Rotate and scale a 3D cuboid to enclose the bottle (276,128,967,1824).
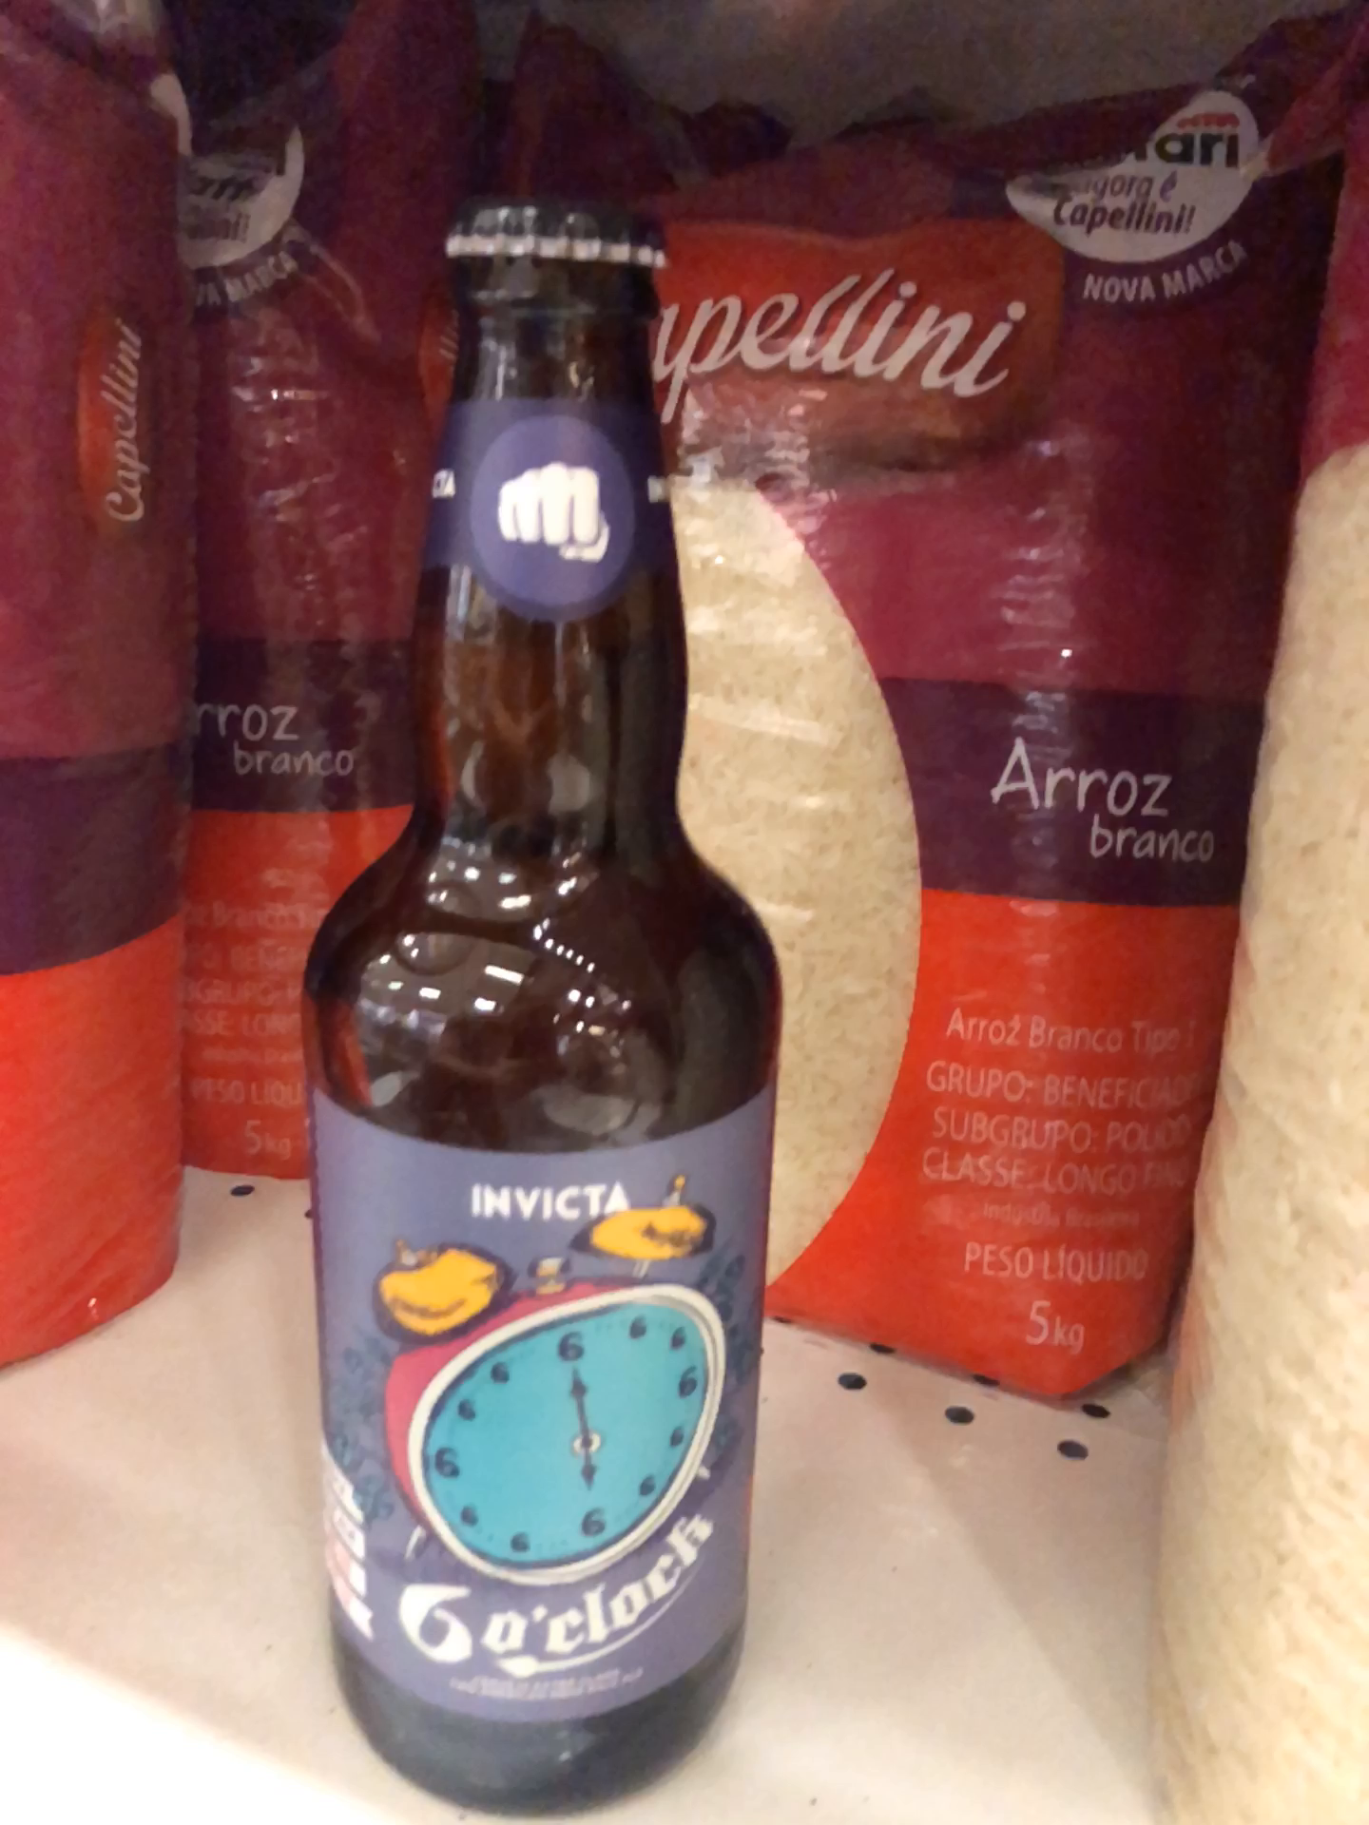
[{"bbox_3d":[-0.015,0.019,0.224,0.070,0.229,0.070,2,19,-1],"label":"bottle"}]
